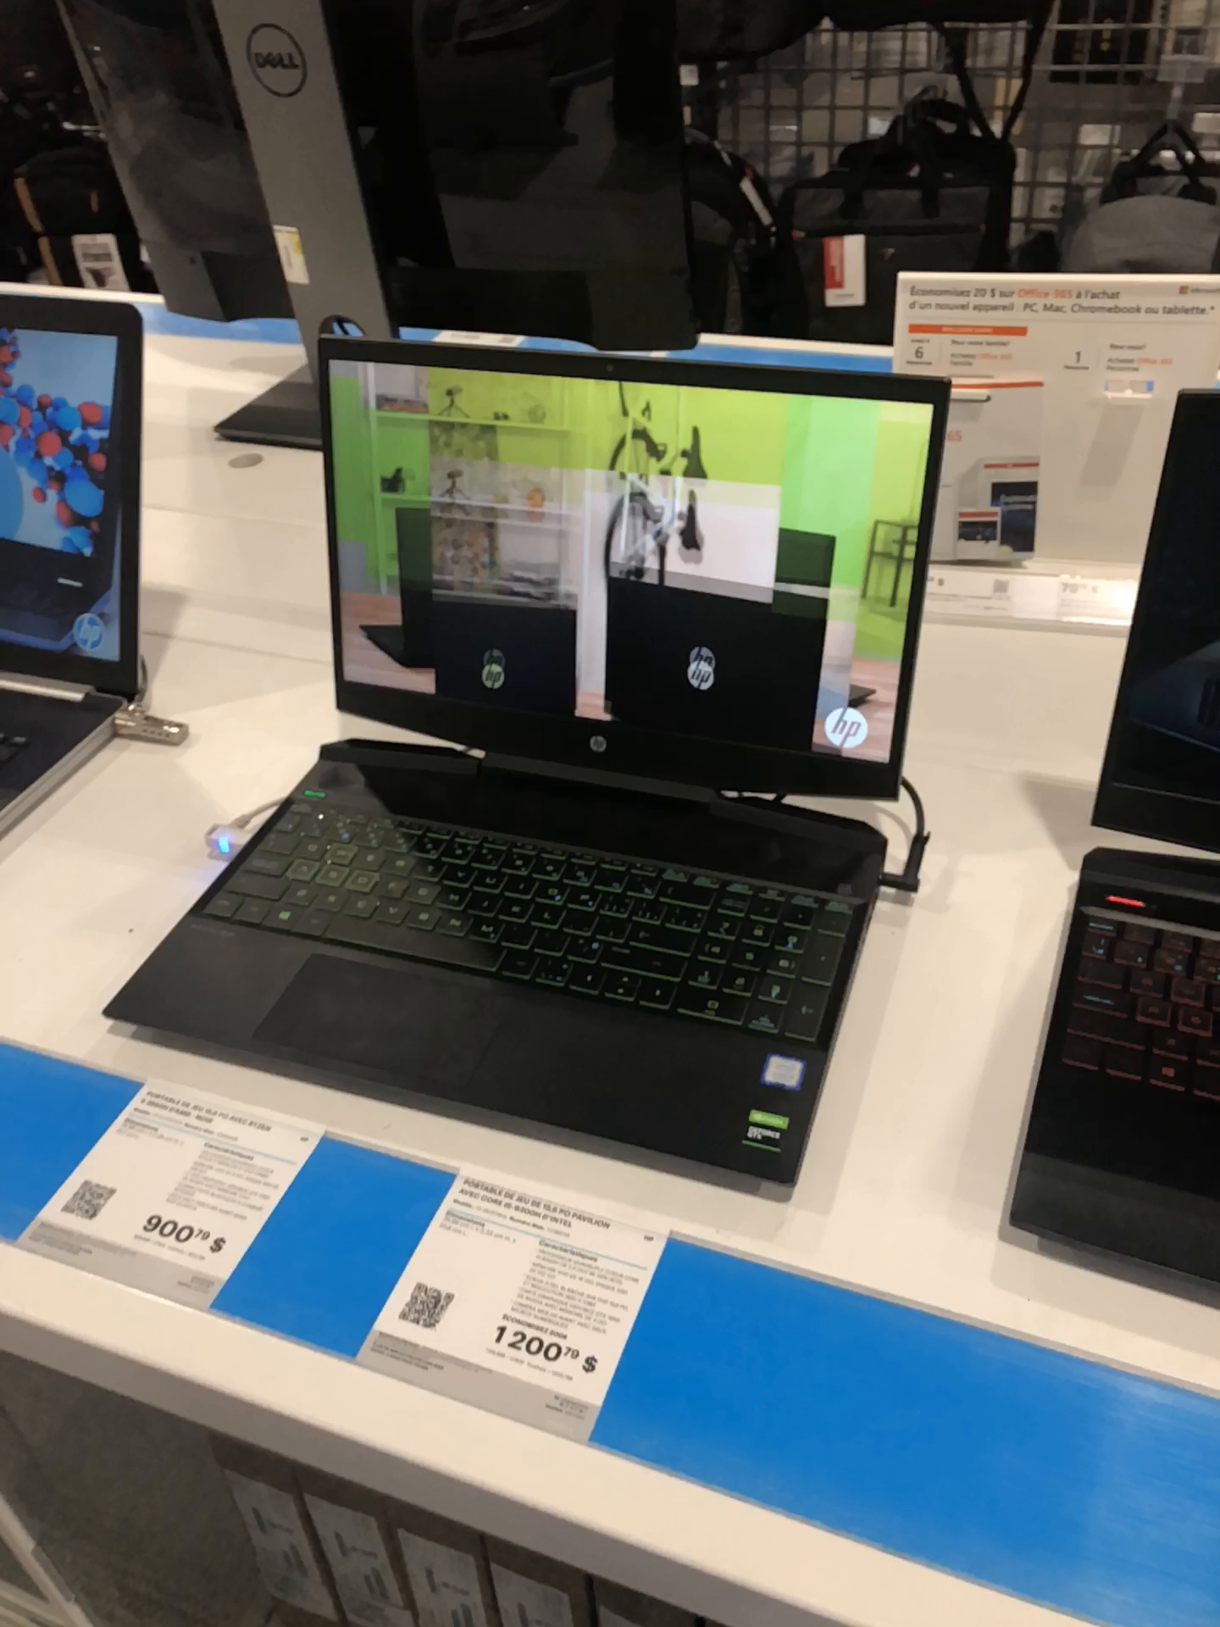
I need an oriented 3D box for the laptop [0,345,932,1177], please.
[{"bbox_3d":[-0.046,-0.057,0.686,0.355,0.232,0.317,10,39,16],"label":"laptop"}]
